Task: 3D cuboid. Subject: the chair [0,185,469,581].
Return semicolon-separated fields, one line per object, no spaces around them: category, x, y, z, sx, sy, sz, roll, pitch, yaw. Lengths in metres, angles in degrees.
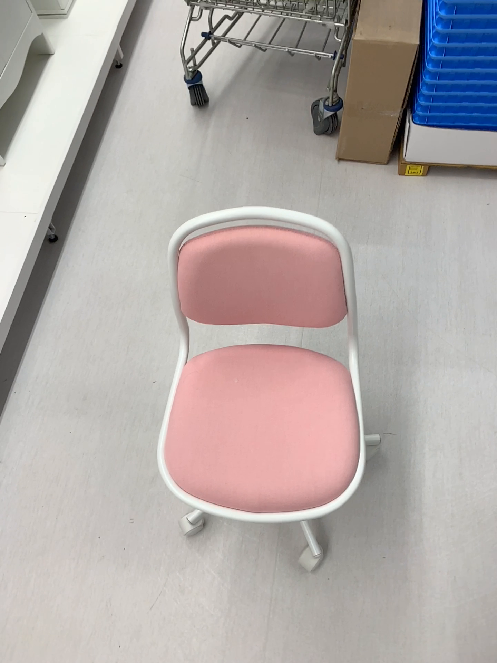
chair;0.019;0.163;0.996;0.560;0.699;0.530;3;64;8
